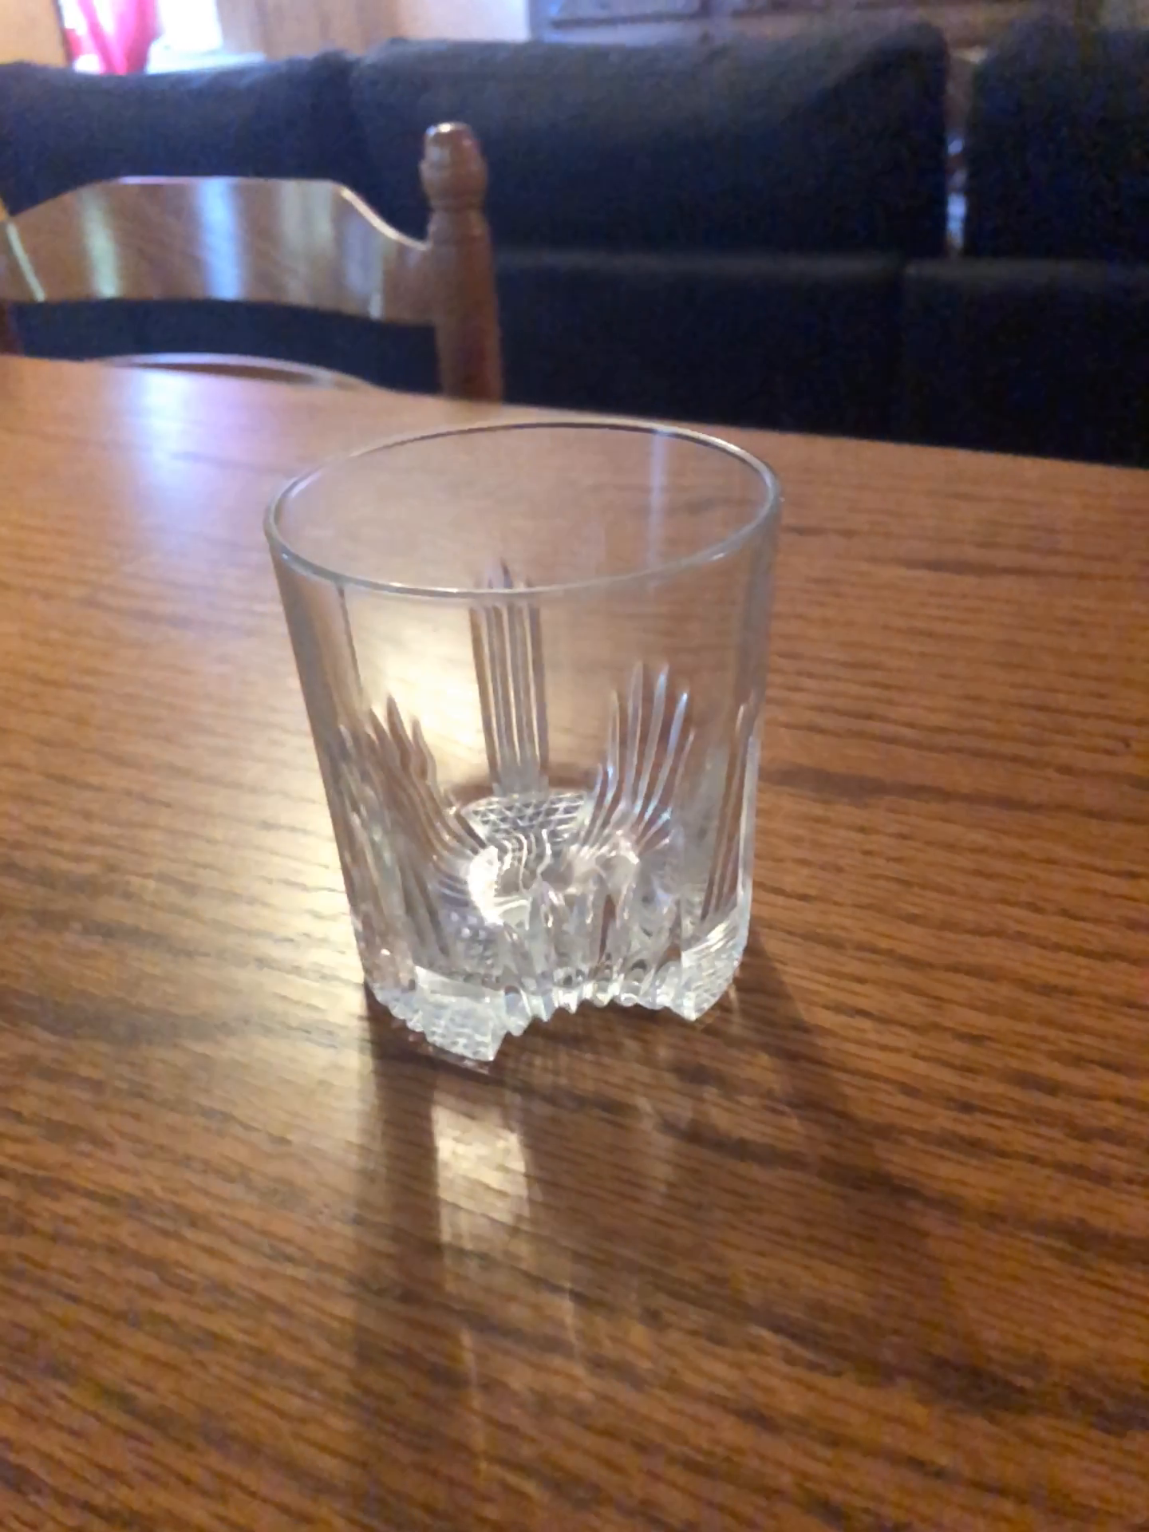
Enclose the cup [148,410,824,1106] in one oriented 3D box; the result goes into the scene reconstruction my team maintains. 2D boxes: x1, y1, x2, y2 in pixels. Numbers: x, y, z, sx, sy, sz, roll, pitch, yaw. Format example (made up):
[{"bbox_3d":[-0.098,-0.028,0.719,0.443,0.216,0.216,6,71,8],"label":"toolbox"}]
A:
[{"bbox_3d":[-0.006,-0.008,0.224,0.084,0.084,0.080,-3,31,2],"label":"cup"}]
